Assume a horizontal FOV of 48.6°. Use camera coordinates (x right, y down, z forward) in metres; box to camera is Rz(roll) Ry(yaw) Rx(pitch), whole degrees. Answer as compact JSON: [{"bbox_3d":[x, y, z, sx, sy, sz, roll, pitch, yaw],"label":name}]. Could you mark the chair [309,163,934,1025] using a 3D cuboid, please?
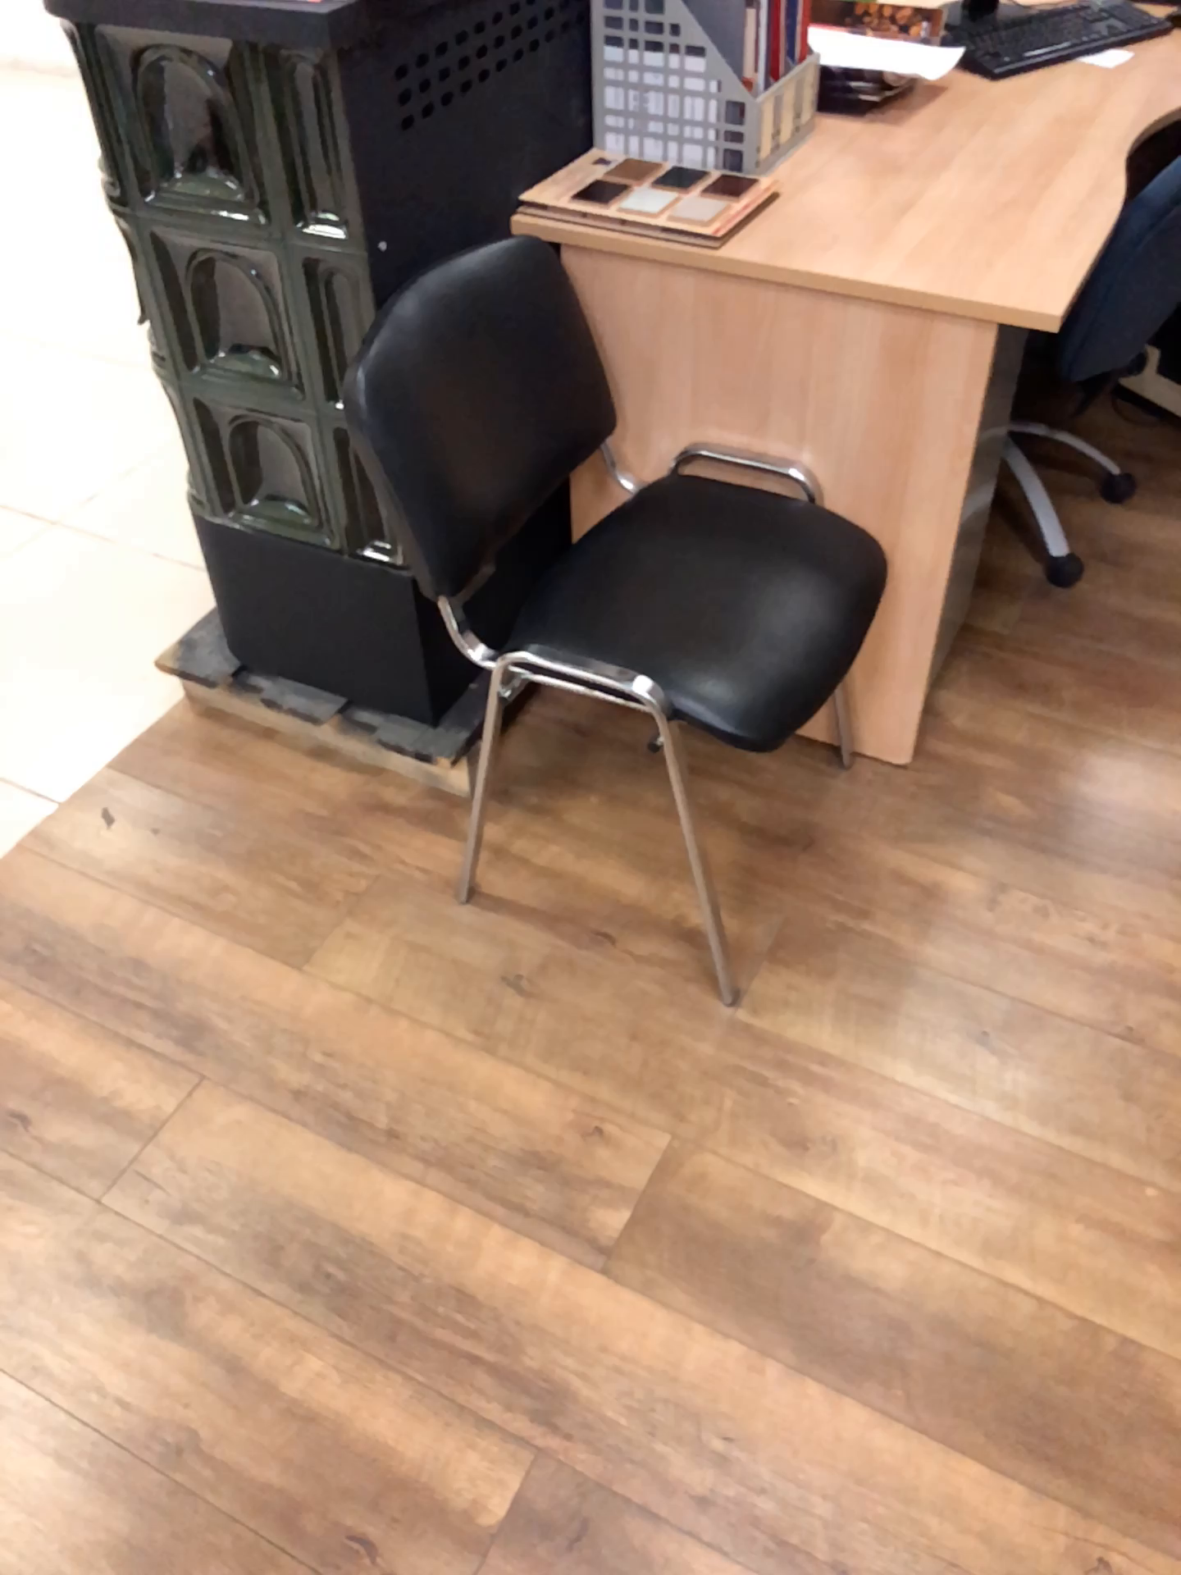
[{"bbox_3d":[0.072,-0.245,1.716,0.480,0.856,0.582,17,47,20],"label":"chair"}]
